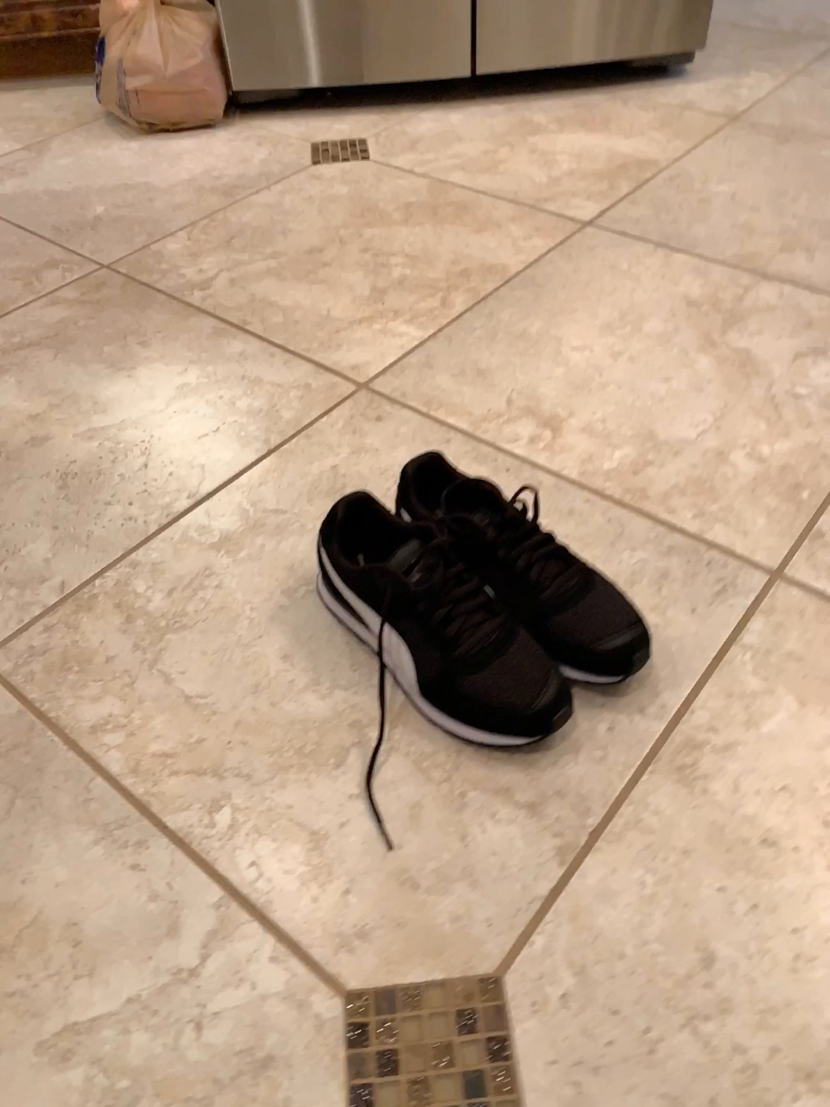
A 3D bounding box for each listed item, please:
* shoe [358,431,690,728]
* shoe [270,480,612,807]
[{"bbox_3d":[0.085,0.012,0.742,0.108,0.095,0.269,-37,55,-26],"label":"shoe"},{"bbox_3d":[0.014,0.062,0.699,0.108,0.095,0.269,-36,54,-27],"label":"shoe"}]
